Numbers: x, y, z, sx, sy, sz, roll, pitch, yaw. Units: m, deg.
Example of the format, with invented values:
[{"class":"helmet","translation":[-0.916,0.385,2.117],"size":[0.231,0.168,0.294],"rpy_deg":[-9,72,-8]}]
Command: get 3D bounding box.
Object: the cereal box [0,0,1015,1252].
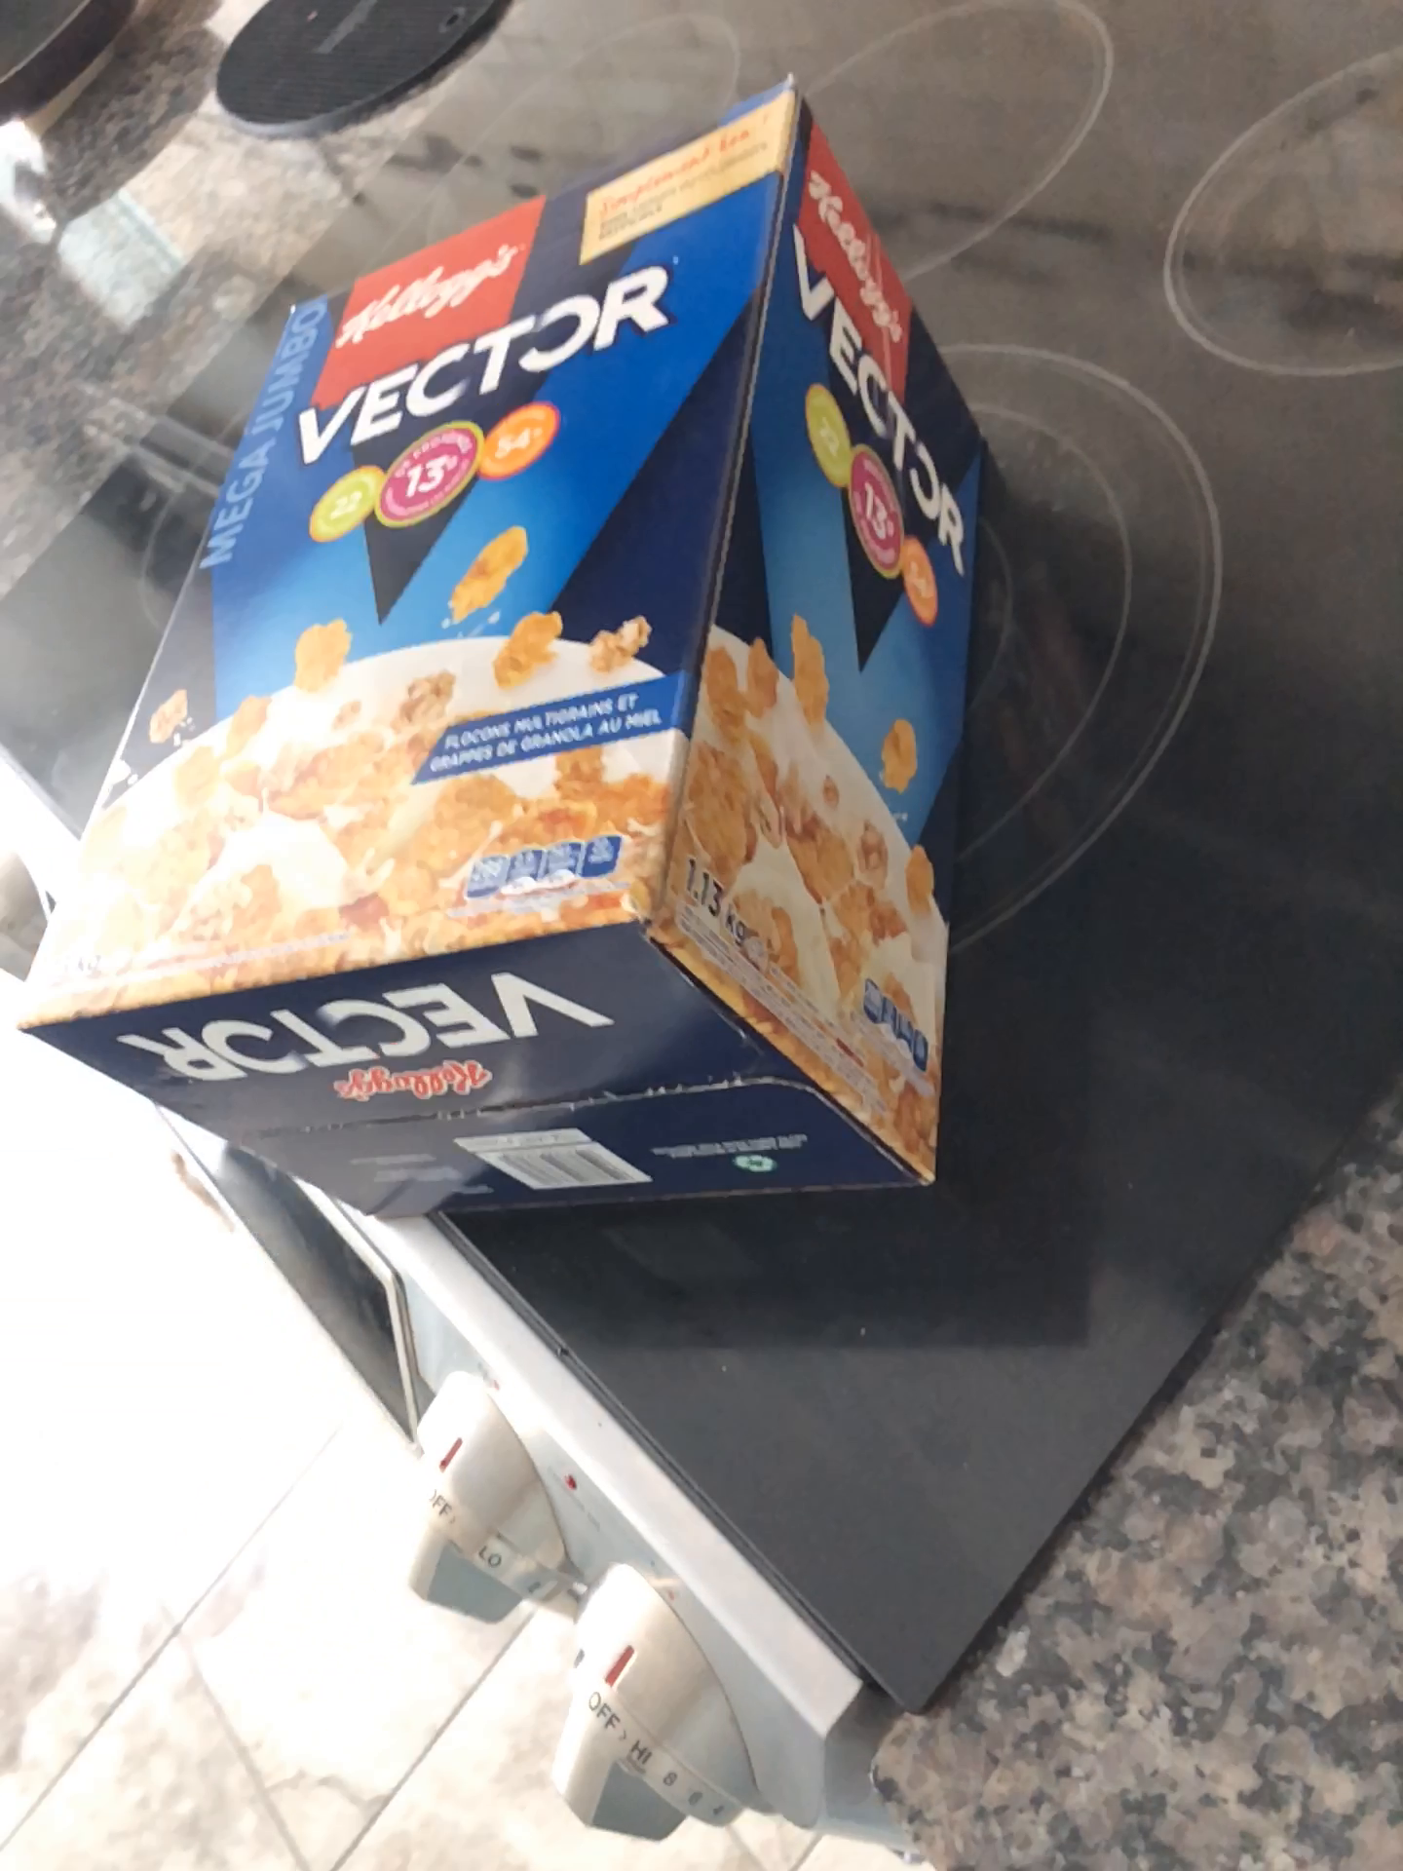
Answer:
[{"class":"cereal box","translation":[-0.045,-0.086,0.461],"size":[0.220,0.169,0.310],"rpy_deg":[-9,60,29]}]
